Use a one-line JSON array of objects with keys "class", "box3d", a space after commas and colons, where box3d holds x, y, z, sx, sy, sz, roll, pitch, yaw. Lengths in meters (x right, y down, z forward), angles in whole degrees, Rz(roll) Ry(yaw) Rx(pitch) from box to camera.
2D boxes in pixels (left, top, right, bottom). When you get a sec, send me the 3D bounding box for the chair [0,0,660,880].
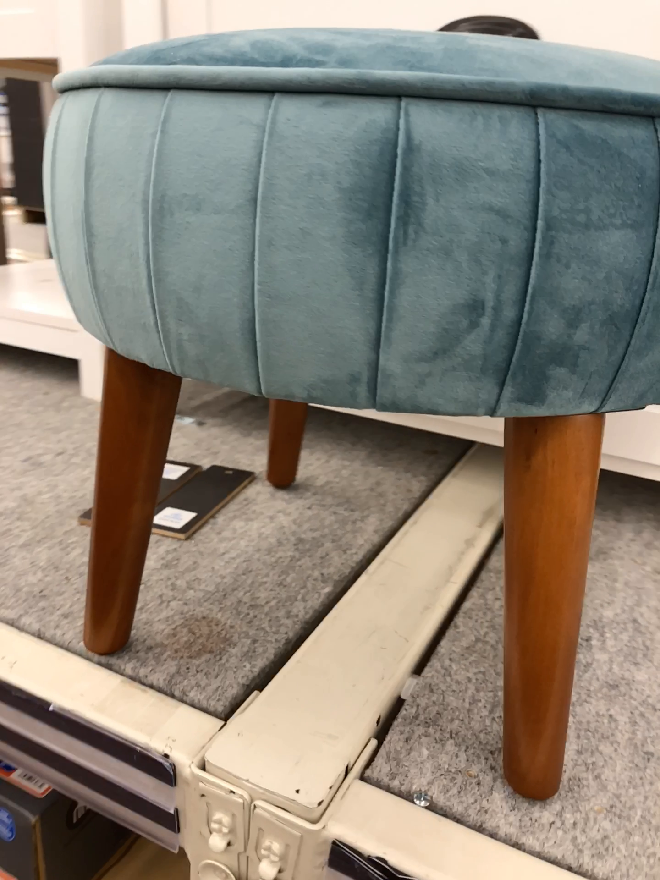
[{"class": "chair", "box3d": [0.066, -0.062, 0.512, 0.370, 0.399, 0.371, 13, 23, 24]}]
